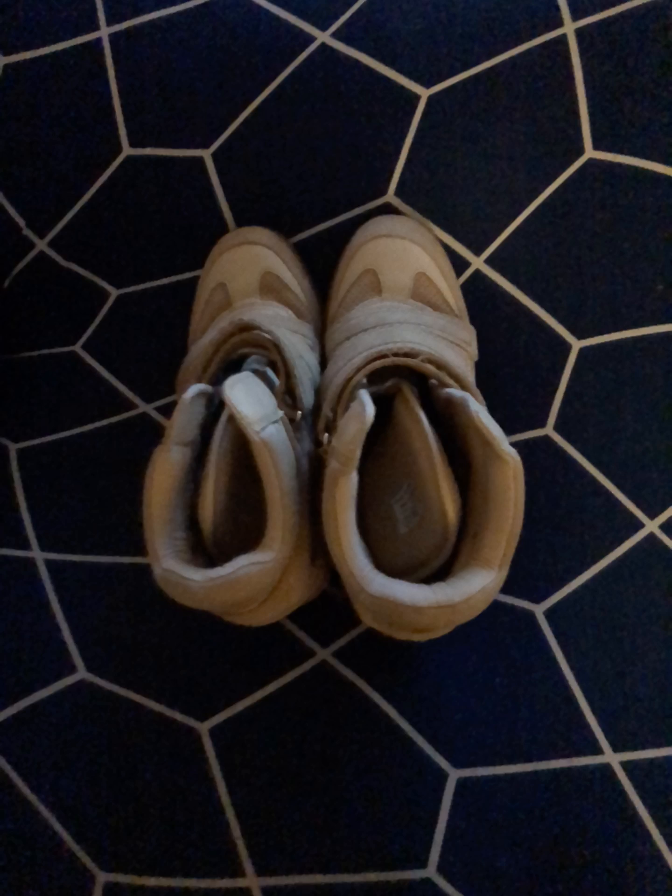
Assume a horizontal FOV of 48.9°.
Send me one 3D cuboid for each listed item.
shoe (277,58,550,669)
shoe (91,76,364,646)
[{"bbox_3d":[0.031,-0.037,0.381,0.100,0.130,0.281,-2,70,4],"label":"shoe"},{"bbox_3d":[-0.049,-0.038,0.396,0.100,0.140,0.261,-6,70,3],"label":"shoe"}]
